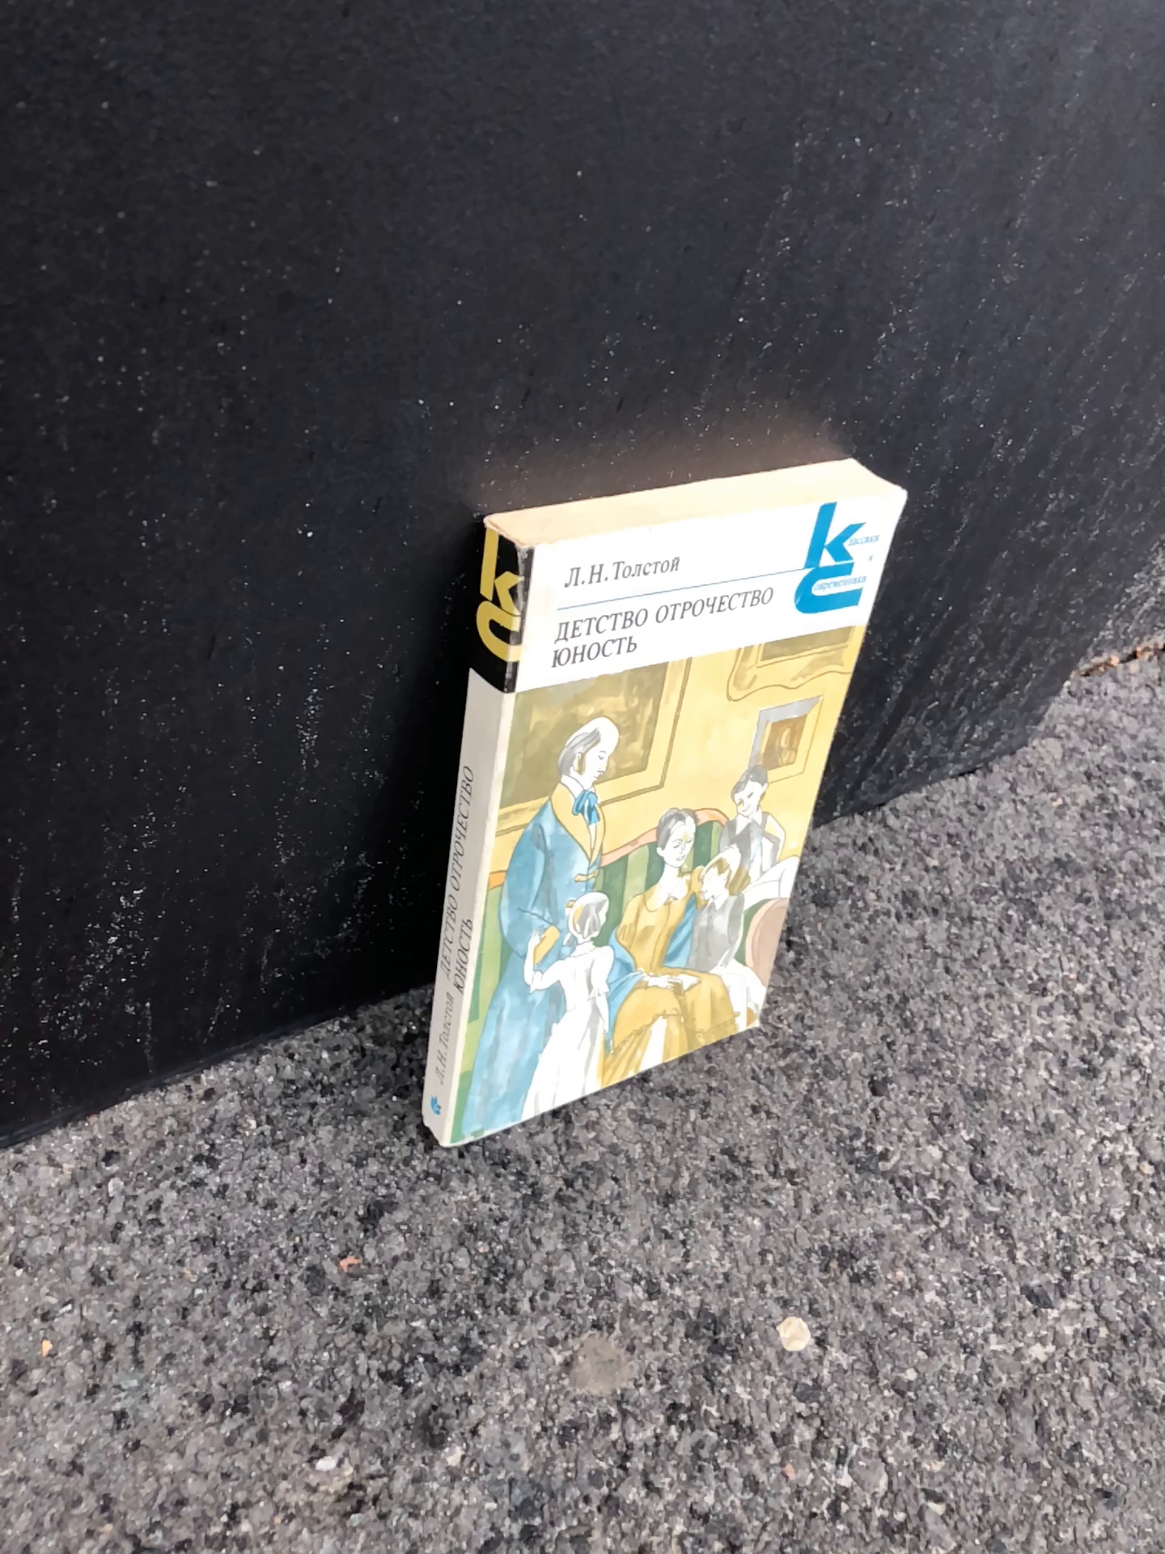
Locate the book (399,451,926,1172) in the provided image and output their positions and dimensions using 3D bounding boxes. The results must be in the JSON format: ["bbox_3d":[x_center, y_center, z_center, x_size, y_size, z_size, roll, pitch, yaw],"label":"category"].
[{"bbox_3d":[0.017,0.011,0.350,0.120,0.184,0.030,-15,39,-34],"label":"book"}]
